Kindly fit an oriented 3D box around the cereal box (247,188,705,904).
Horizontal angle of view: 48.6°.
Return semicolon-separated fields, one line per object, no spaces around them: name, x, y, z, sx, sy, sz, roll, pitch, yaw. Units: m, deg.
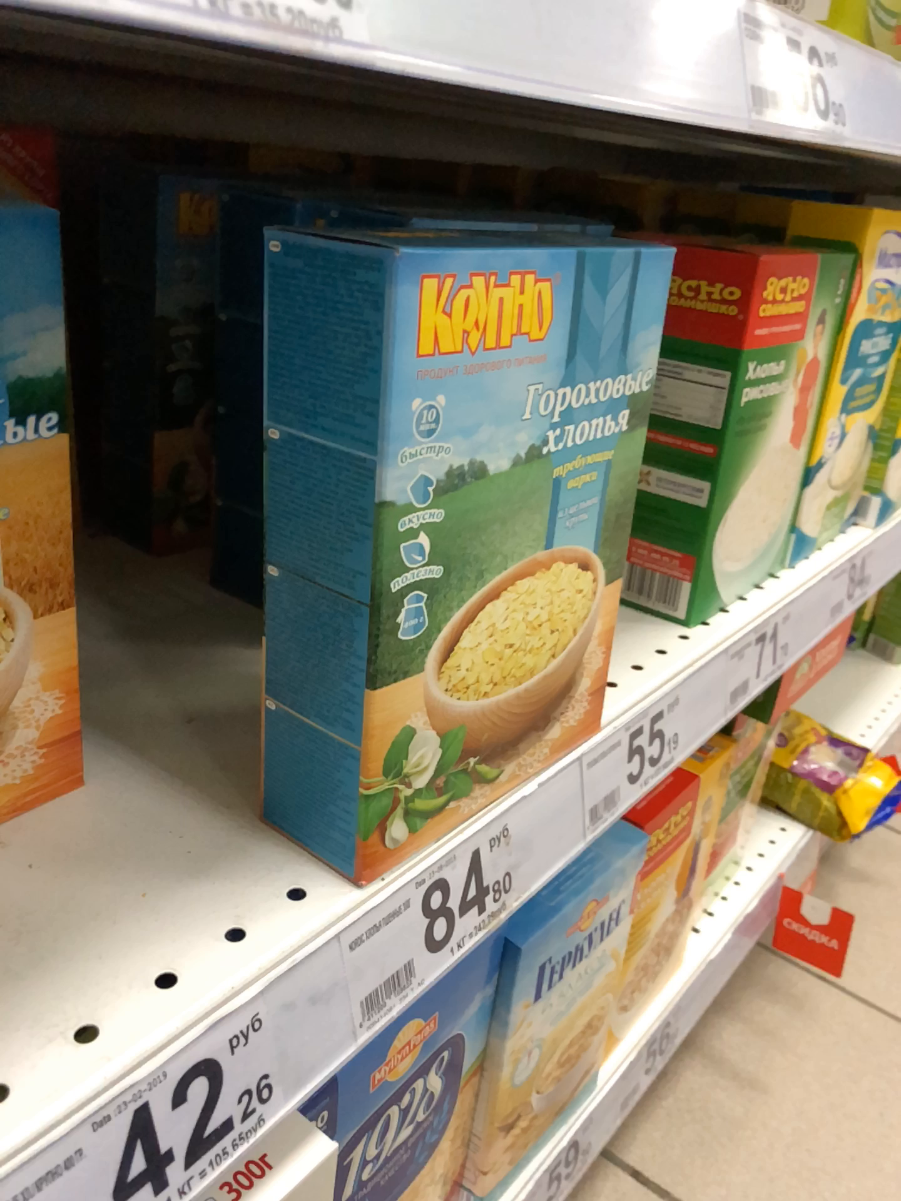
cereal box;0.010;-0.027;0.339;0.050;0.199;0.161;21;28;34
